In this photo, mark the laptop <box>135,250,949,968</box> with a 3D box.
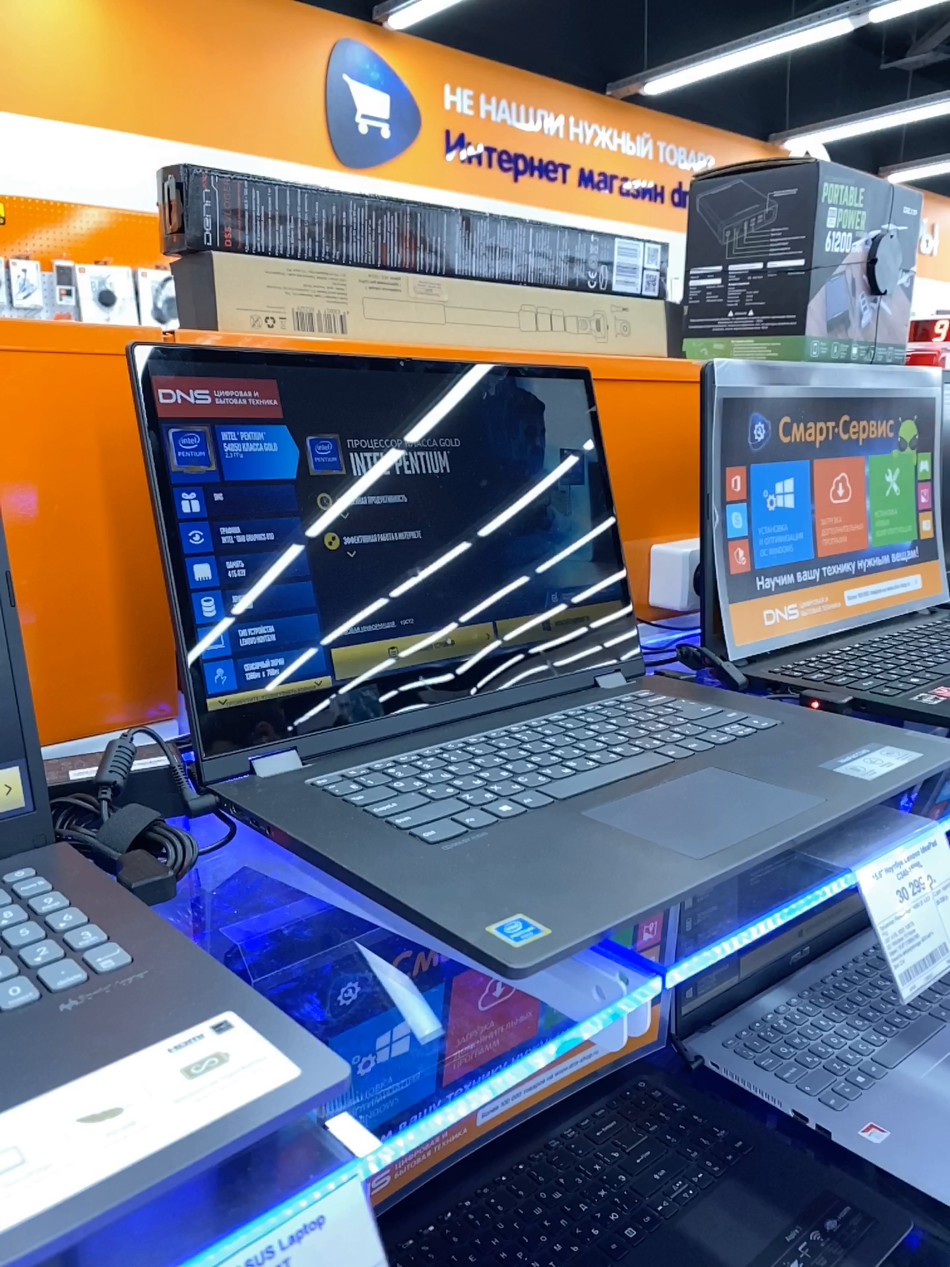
[{"bbox_3d":[0.055,-0.045,0.548,0.362,0.232,0.318,-9,14,-41],"label":"laptop"}]
